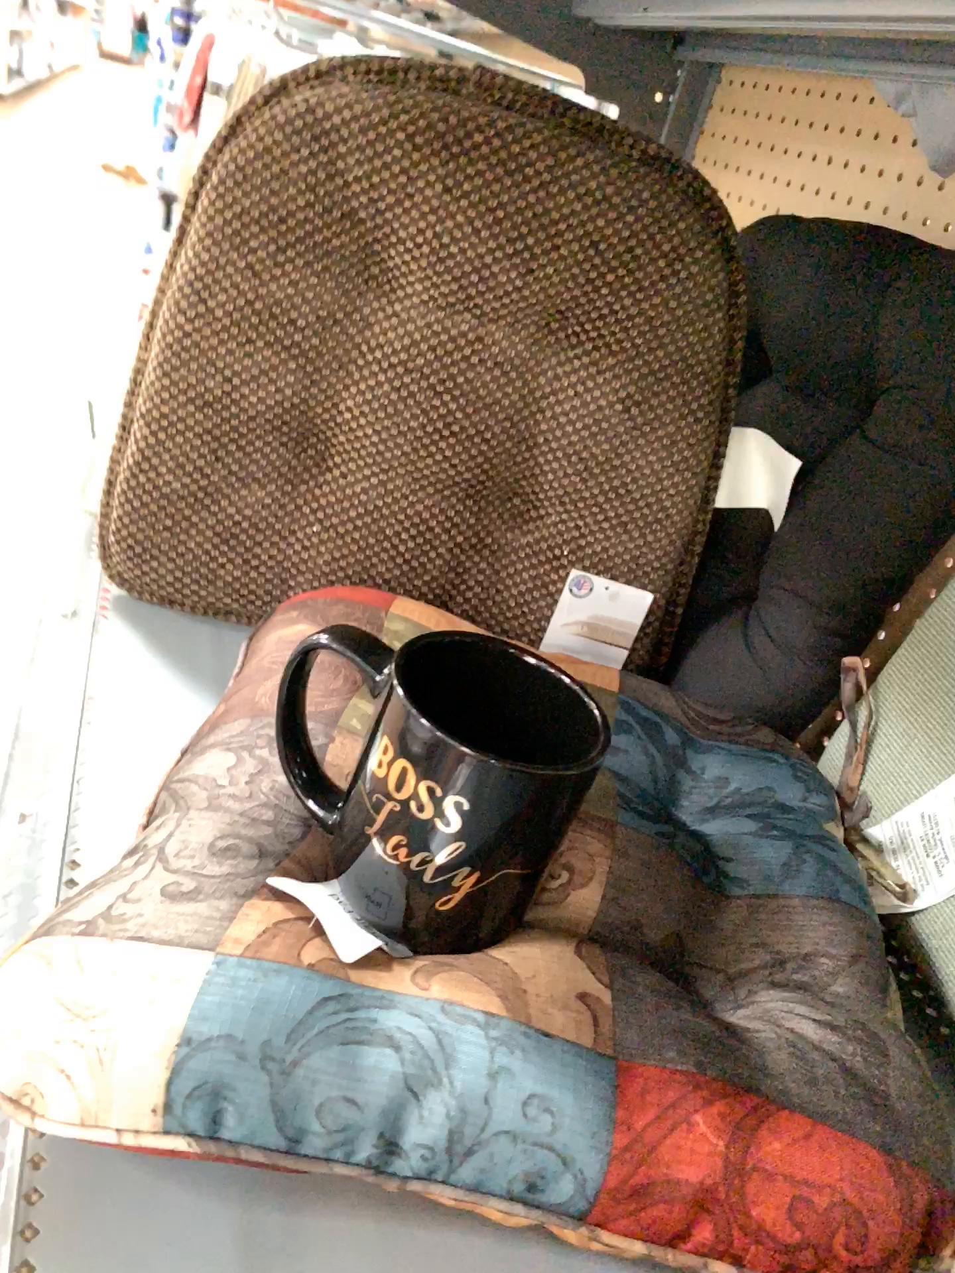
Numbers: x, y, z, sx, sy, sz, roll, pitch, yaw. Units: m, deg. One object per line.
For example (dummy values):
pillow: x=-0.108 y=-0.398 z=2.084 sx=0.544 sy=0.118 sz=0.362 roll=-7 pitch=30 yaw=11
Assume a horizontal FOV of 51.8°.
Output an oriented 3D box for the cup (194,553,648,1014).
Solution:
cup: x=-0.021 y=0.054 z=0.405 sx=0.130 sy=0.099 sz=0.100 roll=32 pitch=29 yaw=7
